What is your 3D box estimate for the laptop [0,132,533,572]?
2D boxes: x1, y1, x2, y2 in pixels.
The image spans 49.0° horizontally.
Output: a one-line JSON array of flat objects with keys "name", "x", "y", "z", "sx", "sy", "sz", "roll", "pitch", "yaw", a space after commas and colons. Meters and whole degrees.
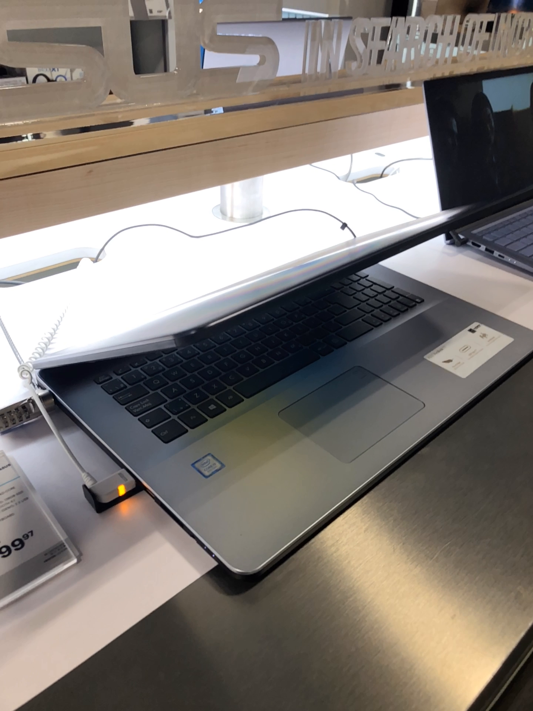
[{"name": "laptop", "x": 0.034, "y": -0.059, "z": 0.500, "sx": 0.392, "sy": 0.144, "sz": 0.260, "roll": -27, "pitch": 45, "yaw": -36}]
